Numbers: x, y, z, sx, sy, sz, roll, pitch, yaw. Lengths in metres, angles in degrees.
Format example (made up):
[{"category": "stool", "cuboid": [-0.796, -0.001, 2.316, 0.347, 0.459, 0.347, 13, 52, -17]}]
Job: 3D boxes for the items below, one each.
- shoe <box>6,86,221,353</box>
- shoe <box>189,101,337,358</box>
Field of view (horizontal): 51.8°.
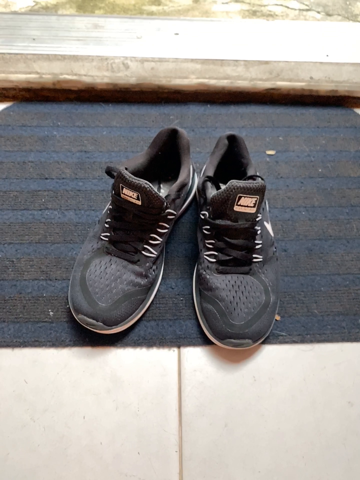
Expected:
[{"category": "shoe", "cuboid": [-0.049, -0.029, 0.401, 0.104, 0.119, 0.249, 18, 59, 8]}, {"category": "shoe", "cuboid": [0.066, -0.016, 0.398, 0.106, 0.119, 0.249, 2, 58, -2]}]
